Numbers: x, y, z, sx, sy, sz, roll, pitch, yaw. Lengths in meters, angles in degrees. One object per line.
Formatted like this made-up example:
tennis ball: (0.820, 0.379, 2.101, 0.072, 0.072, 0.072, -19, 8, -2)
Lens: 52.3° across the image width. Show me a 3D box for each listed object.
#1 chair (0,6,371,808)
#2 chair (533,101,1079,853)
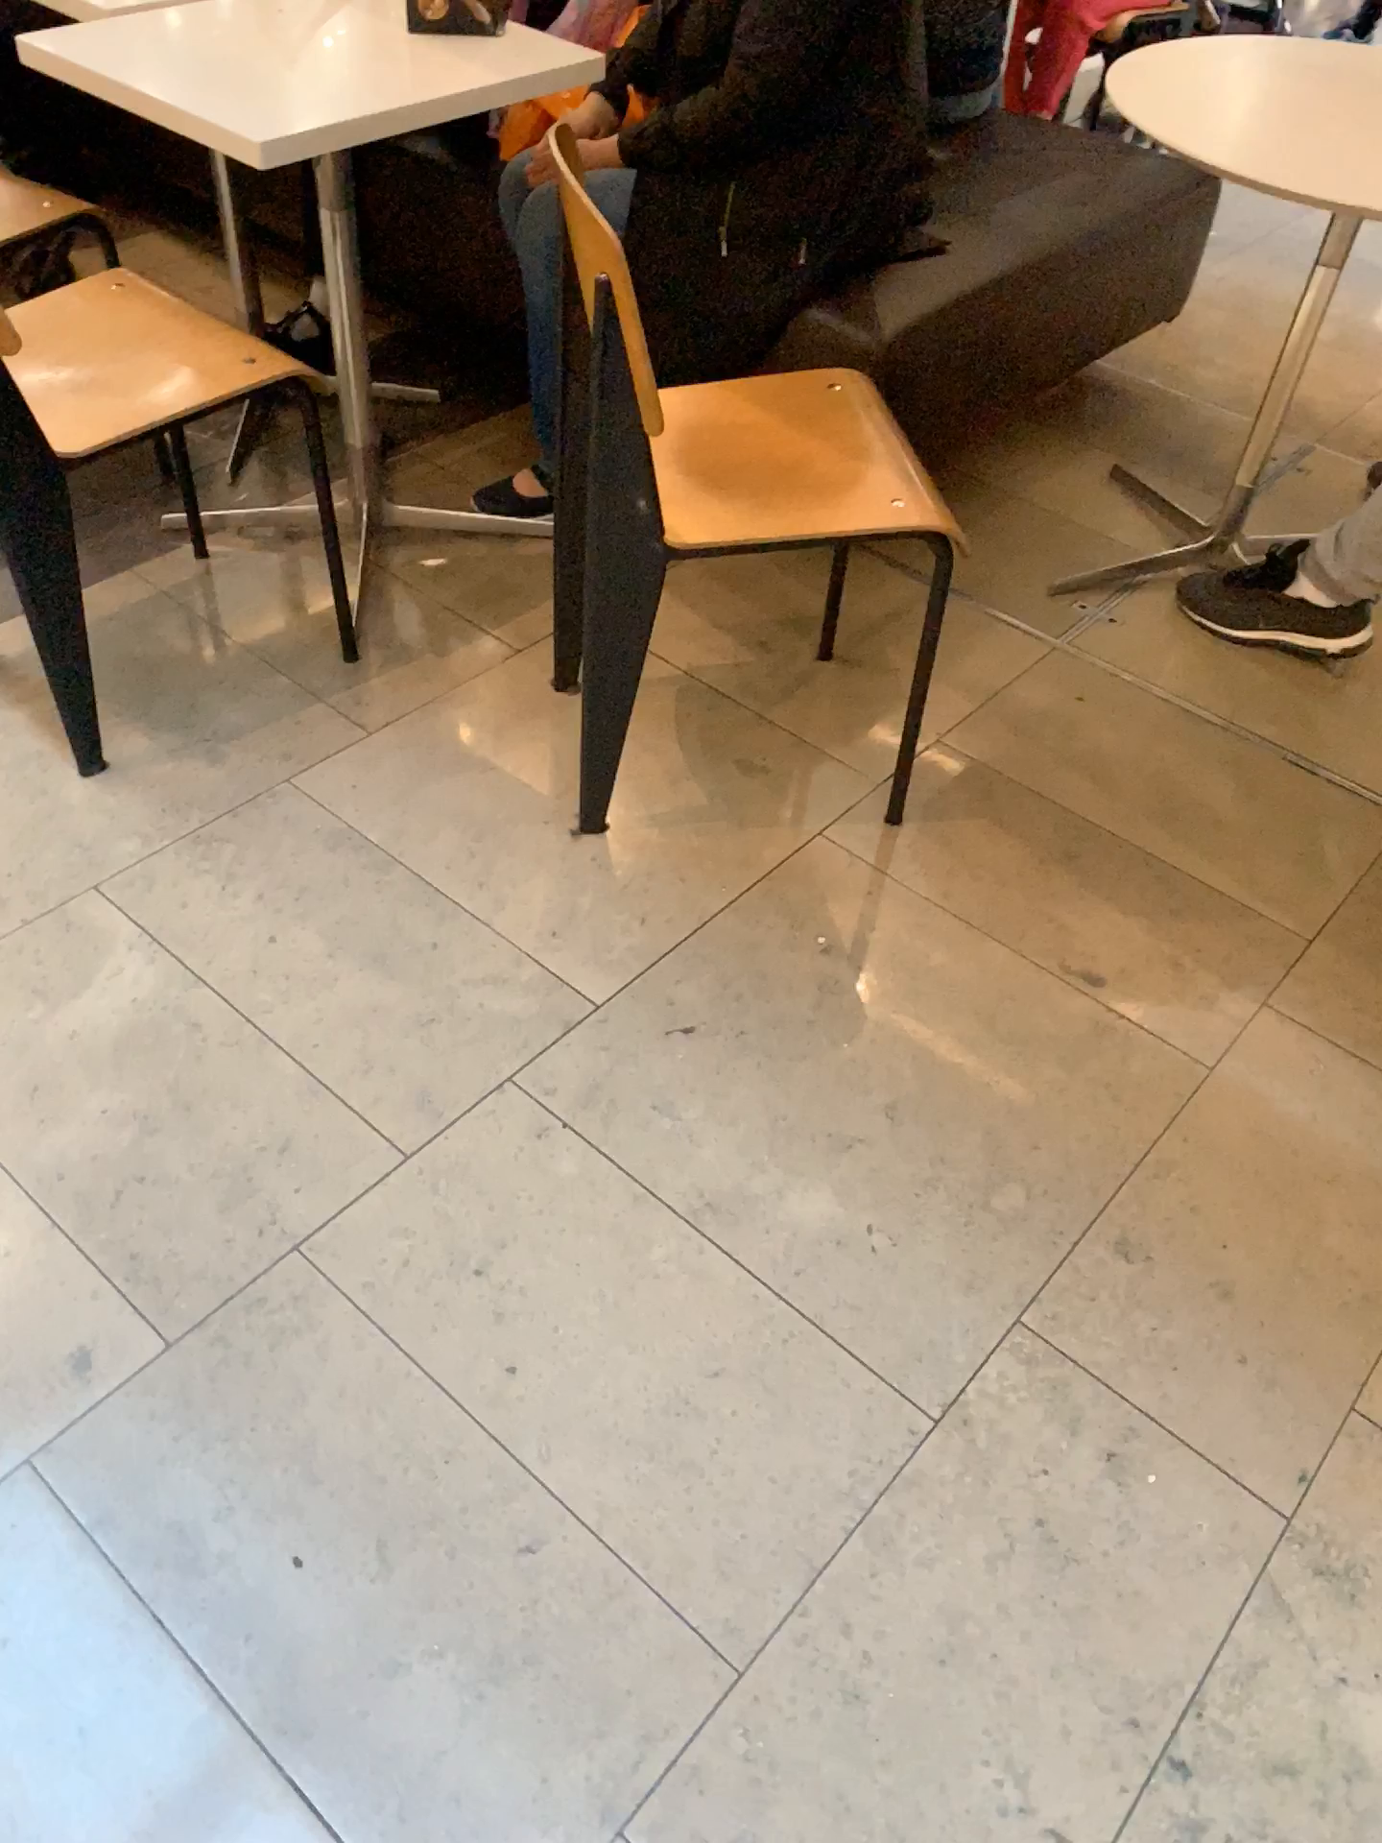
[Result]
chair: (-0.782, -0.653, 1.816, 0.429, 0.767, 0.497, 35, 52, 26)
chair: (0.075, -0.529, 1.760, 0.495, 0.767, 0.421, -5, 46, -10)
